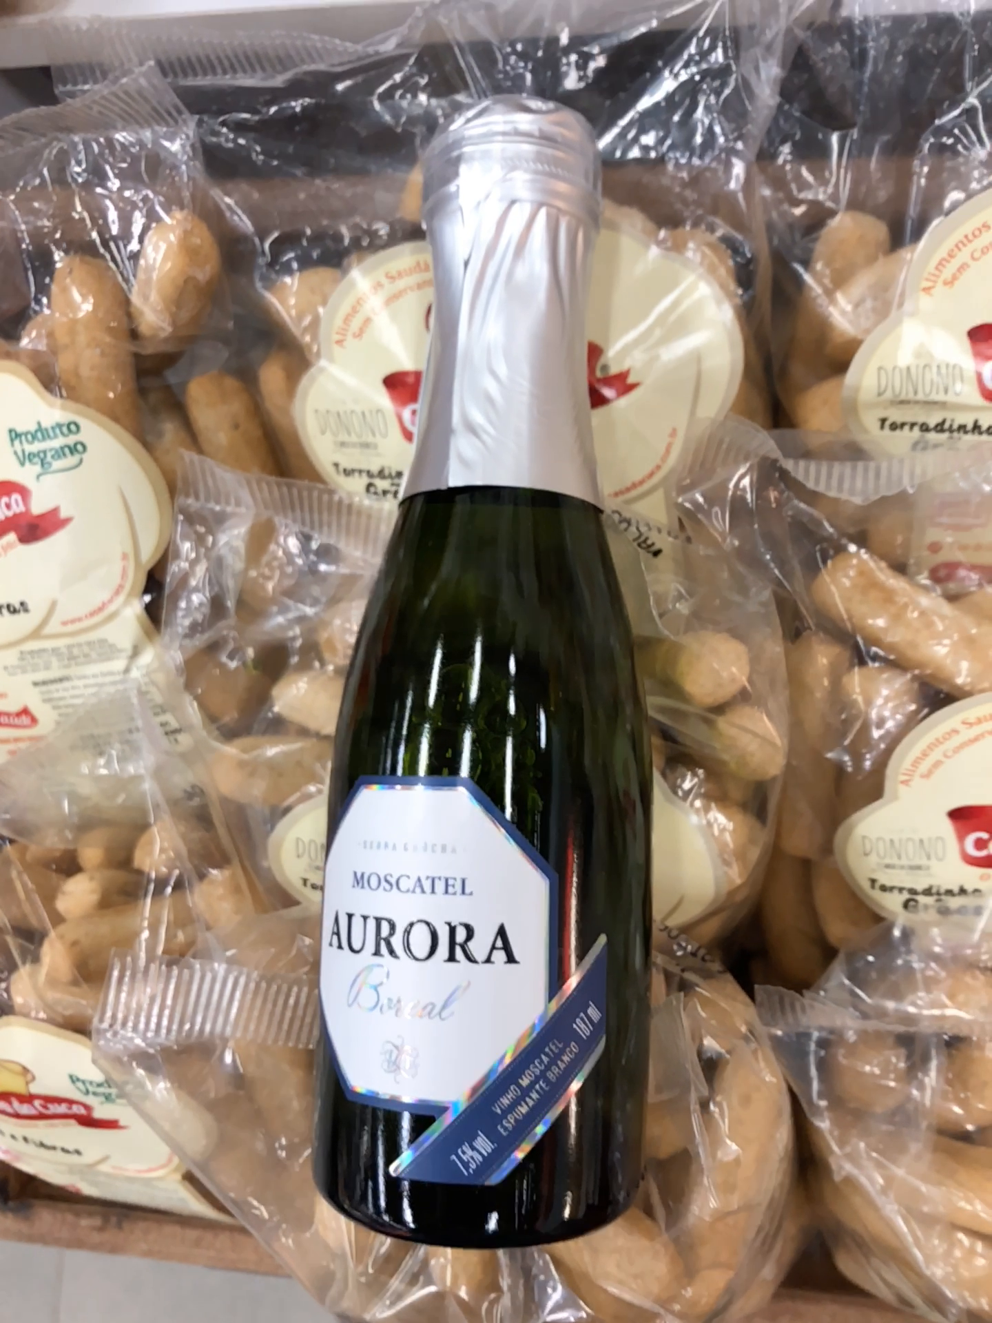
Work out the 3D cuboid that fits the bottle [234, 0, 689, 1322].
[{"bbox_3d":[-0.002,-0.002,0.185,0.060,0.050,0.200,2,90,8],"label":"bottle"}]
